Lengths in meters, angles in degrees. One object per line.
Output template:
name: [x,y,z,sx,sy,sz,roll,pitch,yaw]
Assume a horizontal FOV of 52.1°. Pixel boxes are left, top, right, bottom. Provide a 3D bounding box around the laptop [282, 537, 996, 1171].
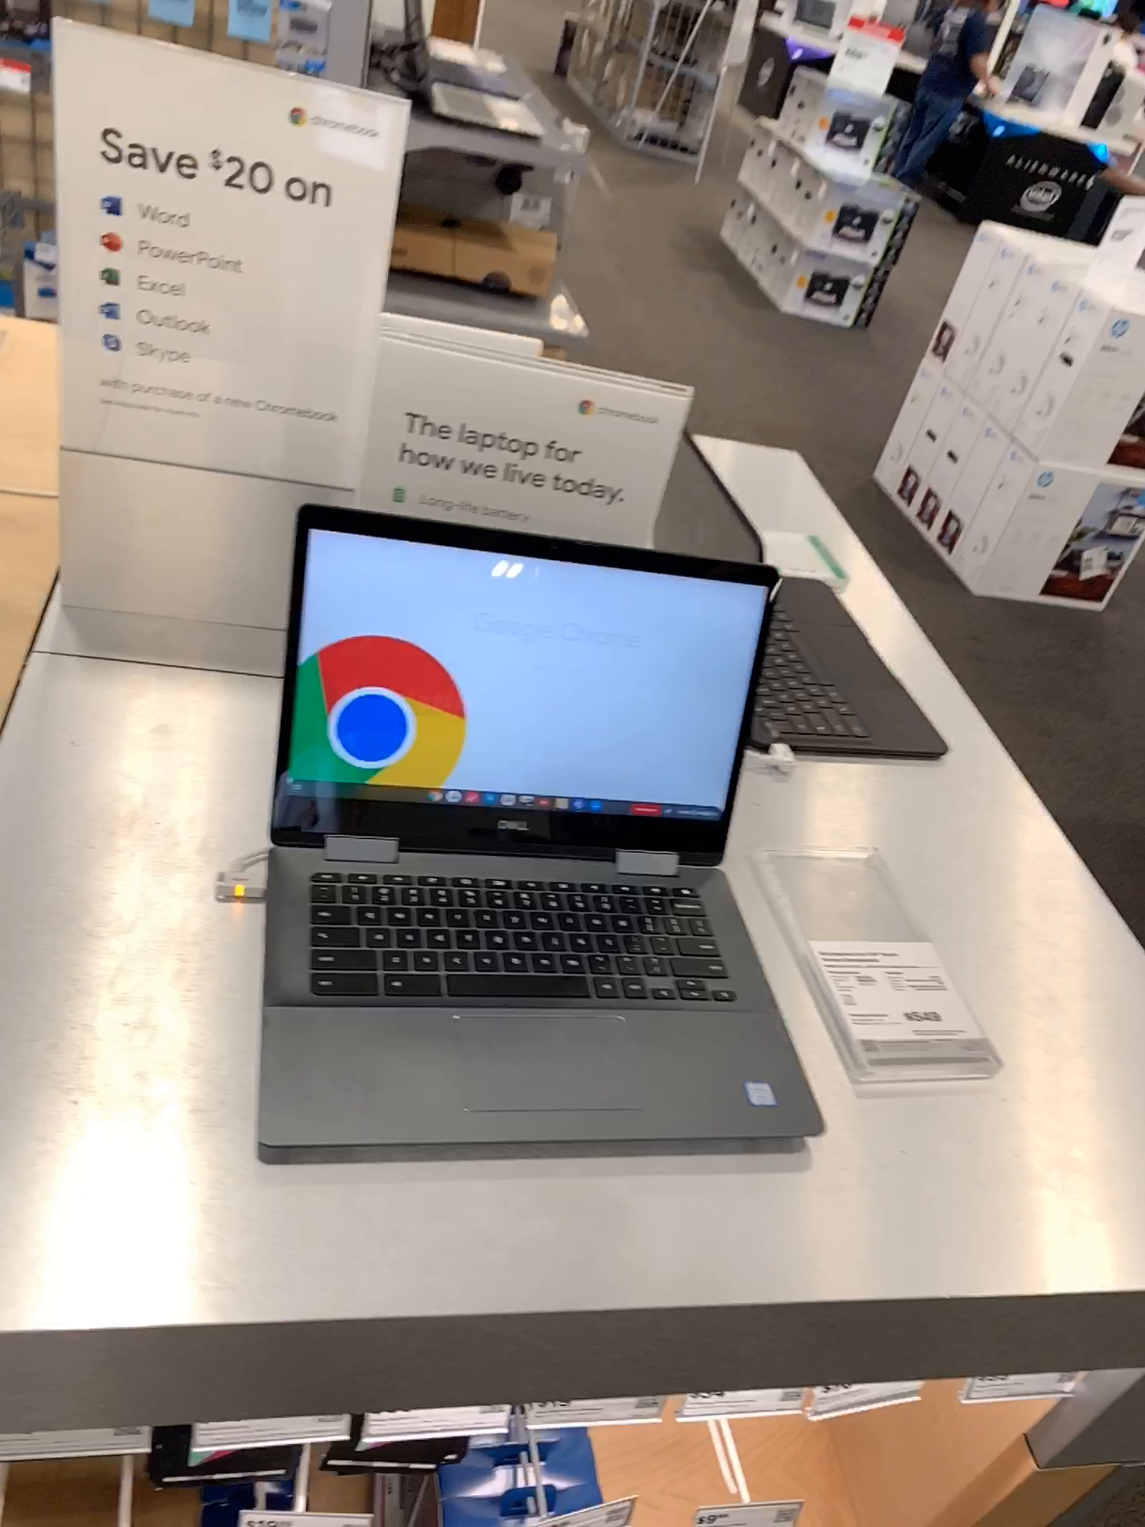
laptop: [0.003,0.042,0.681,0.309,0.203,0.293,4,37,-16]
